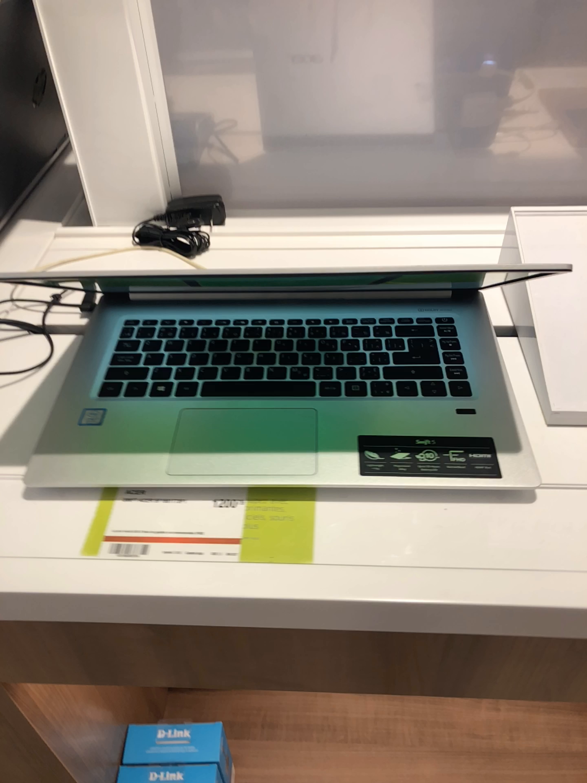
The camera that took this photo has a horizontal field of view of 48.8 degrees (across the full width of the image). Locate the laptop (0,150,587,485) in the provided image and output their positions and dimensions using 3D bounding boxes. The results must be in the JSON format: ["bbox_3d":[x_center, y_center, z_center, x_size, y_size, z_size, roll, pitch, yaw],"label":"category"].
[{"bbox_3d":[-0.010,-0.062,0.473,0.346,0.132,0.218,0,44,2],"label":"laptop"}]
